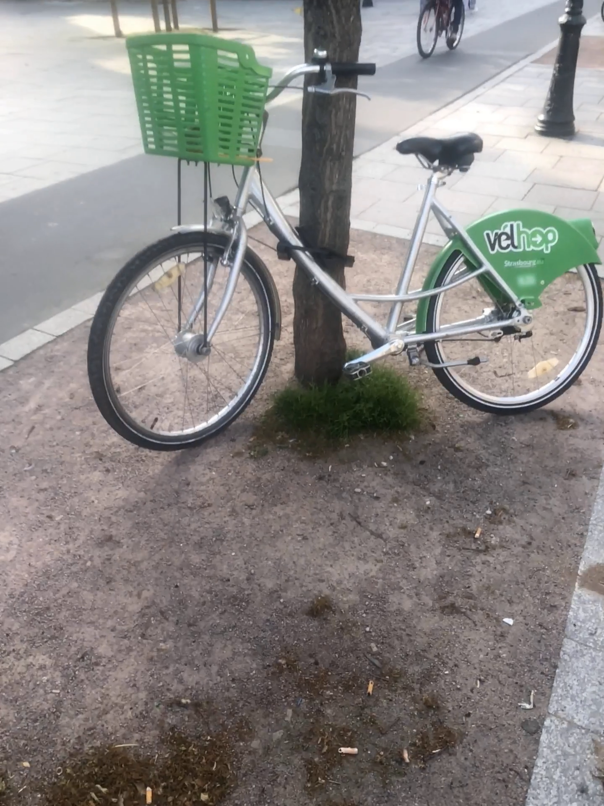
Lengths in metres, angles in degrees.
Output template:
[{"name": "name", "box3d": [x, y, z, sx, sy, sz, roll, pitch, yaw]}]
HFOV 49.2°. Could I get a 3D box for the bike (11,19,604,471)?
[{"name": "bike", "box3d": [0.196, -0.500, 2.047, 1.722, 1.114, 0.312, -12, 35, -20]}]
